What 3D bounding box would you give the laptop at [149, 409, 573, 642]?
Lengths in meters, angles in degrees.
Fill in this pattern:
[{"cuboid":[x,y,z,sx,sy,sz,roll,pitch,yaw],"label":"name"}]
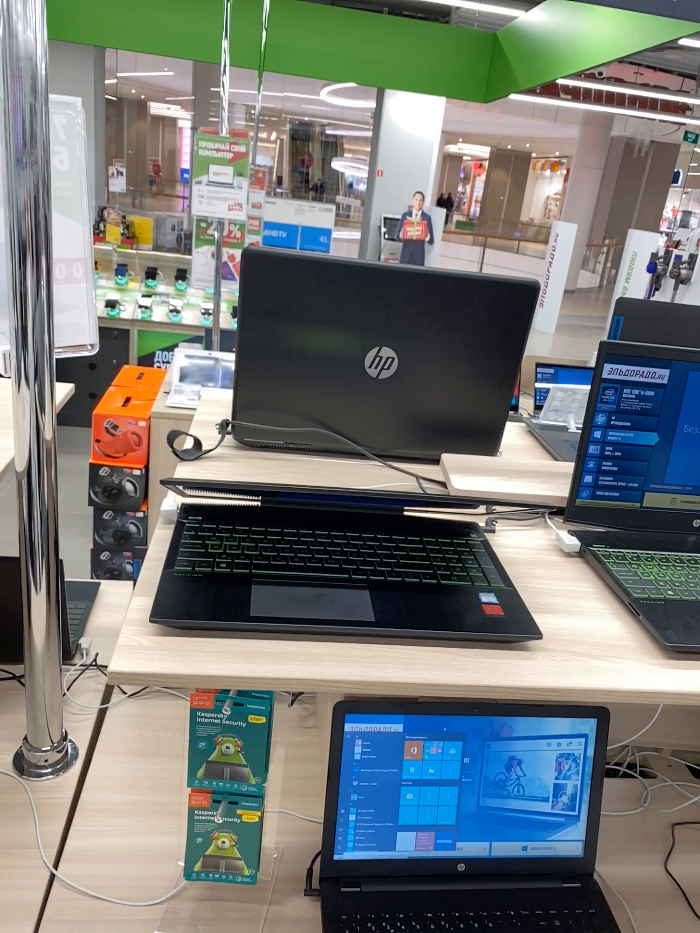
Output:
[{"cuboid":[-0.001,0.050,0.743,0.364,0.115,0.245,5,21,-8],"label":"laptop"}]
